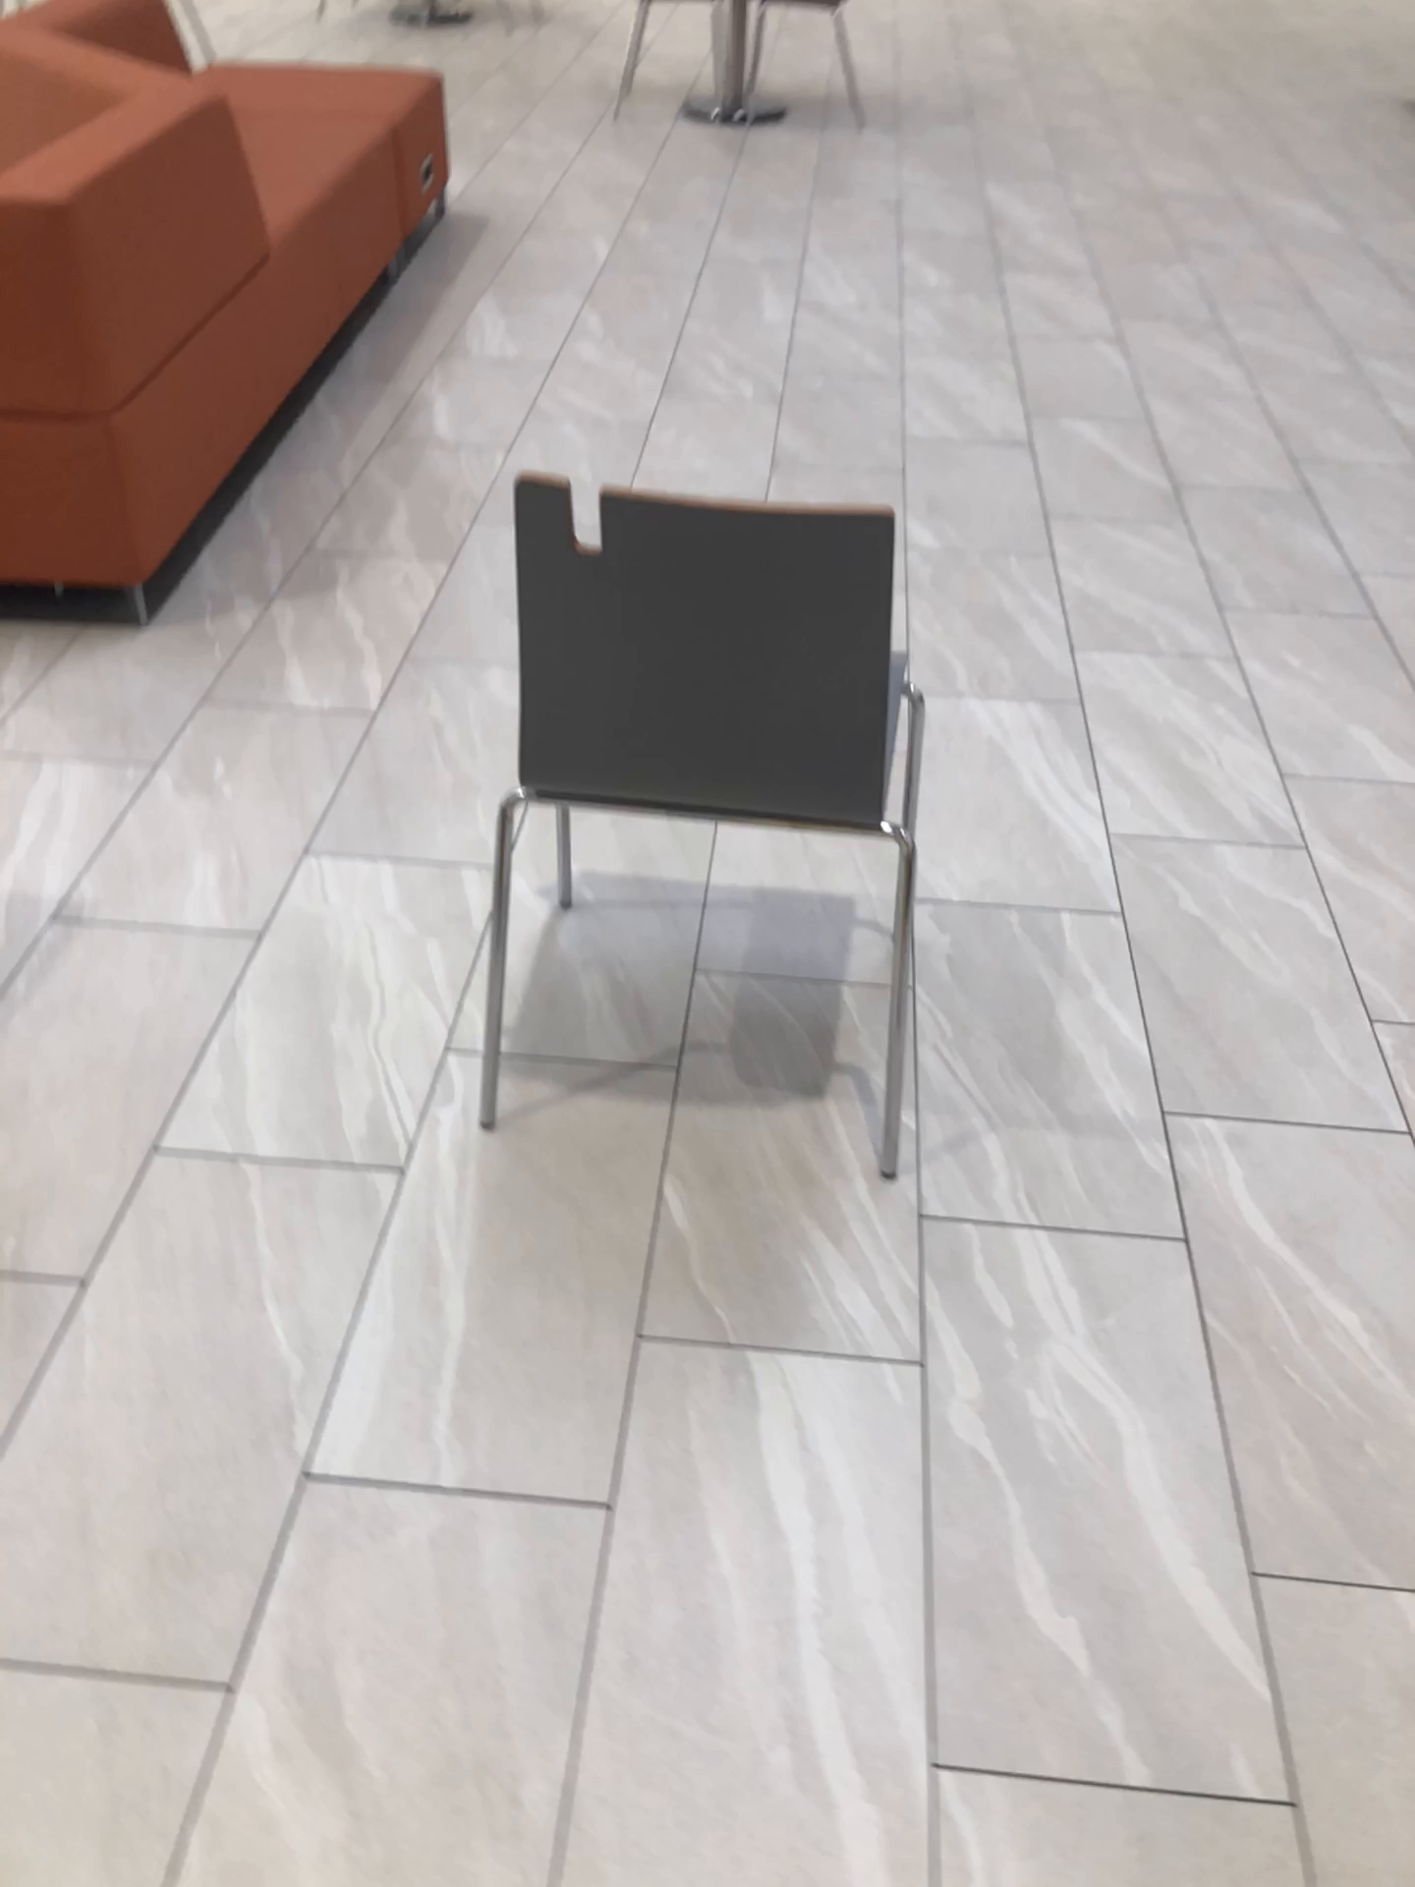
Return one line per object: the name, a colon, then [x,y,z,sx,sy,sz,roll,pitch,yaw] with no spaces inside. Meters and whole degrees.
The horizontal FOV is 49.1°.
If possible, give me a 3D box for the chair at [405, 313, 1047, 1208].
chair: [0.031,-0.195,1.702,0.524,0.787,0.518,5,38,4]
